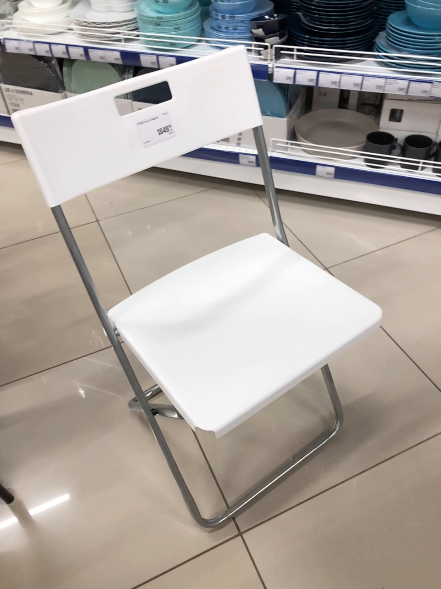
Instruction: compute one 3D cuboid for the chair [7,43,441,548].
[{"bbox_3d":[0.010,0.020,0.891,0.426,0.710,0.432,-28,50,-23],"label":"chair"}]
